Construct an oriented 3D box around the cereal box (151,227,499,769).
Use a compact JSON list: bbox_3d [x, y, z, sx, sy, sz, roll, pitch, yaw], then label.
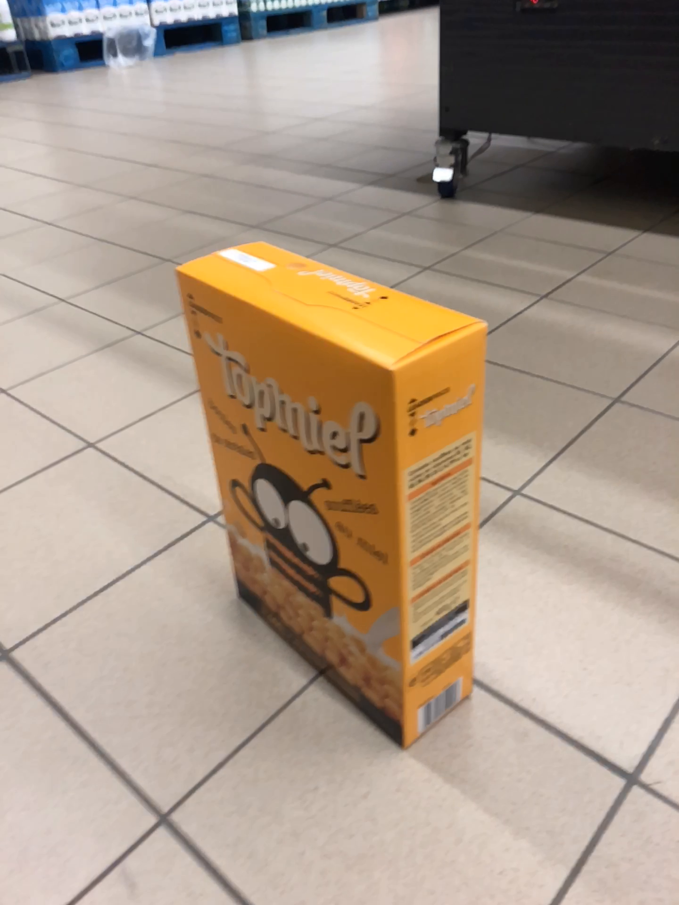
[{"bbox_3d":[-0.012,0.023,0.455,0.060,0.268,0.210,-27,39,-31],"label":"cereal box"}]
